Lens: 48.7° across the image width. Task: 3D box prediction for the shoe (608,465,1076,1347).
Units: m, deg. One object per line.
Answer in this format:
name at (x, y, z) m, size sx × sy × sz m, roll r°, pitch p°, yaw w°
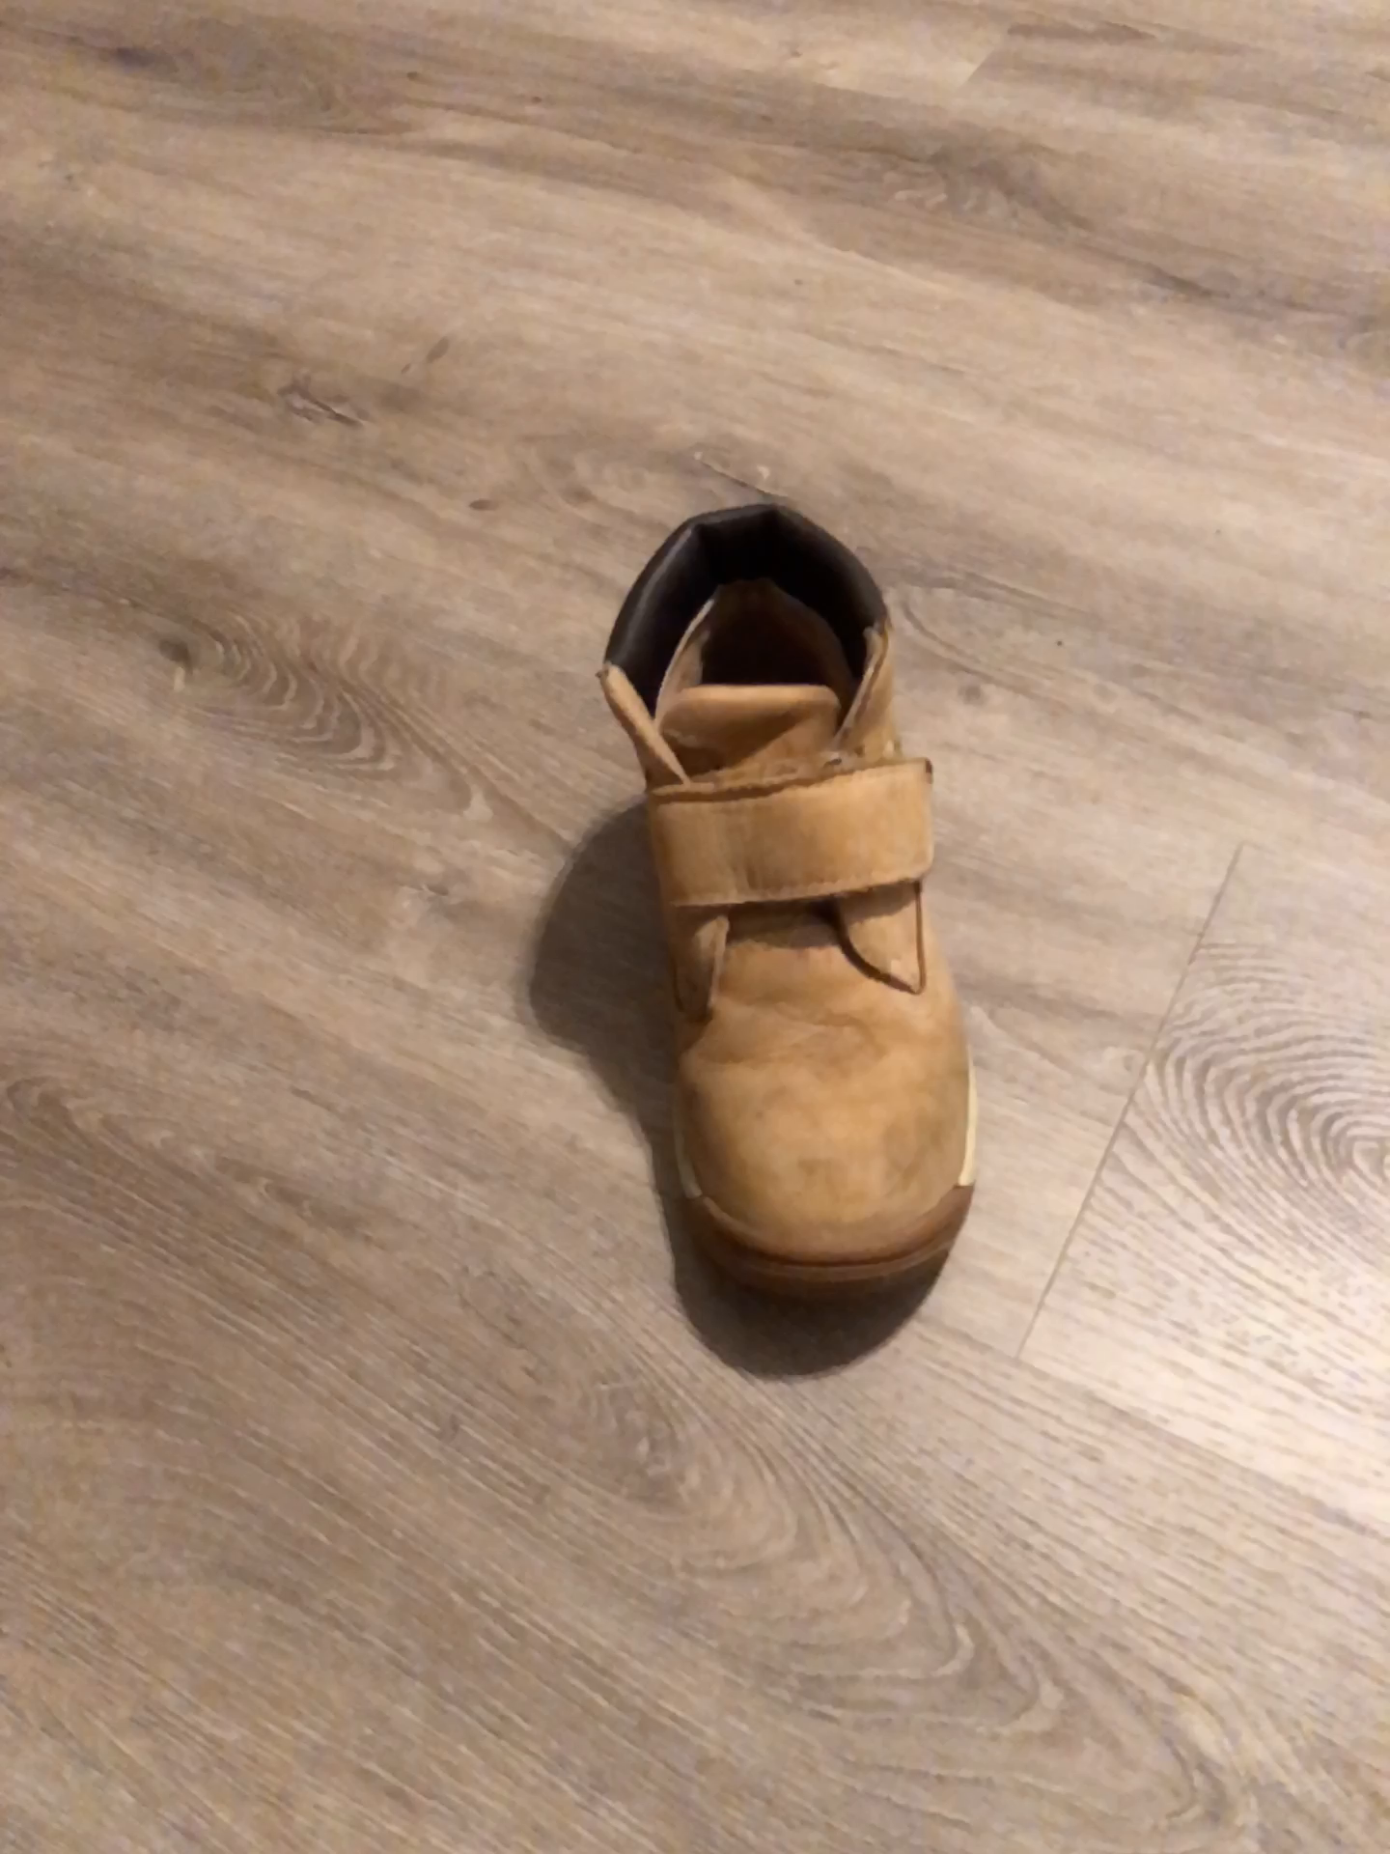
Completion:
shoe at (0.029, -0.010, 0.396) m, size 0.090 × 0.100 × 0.201 m, roll -5°, pitch 54°, yaw 3°
